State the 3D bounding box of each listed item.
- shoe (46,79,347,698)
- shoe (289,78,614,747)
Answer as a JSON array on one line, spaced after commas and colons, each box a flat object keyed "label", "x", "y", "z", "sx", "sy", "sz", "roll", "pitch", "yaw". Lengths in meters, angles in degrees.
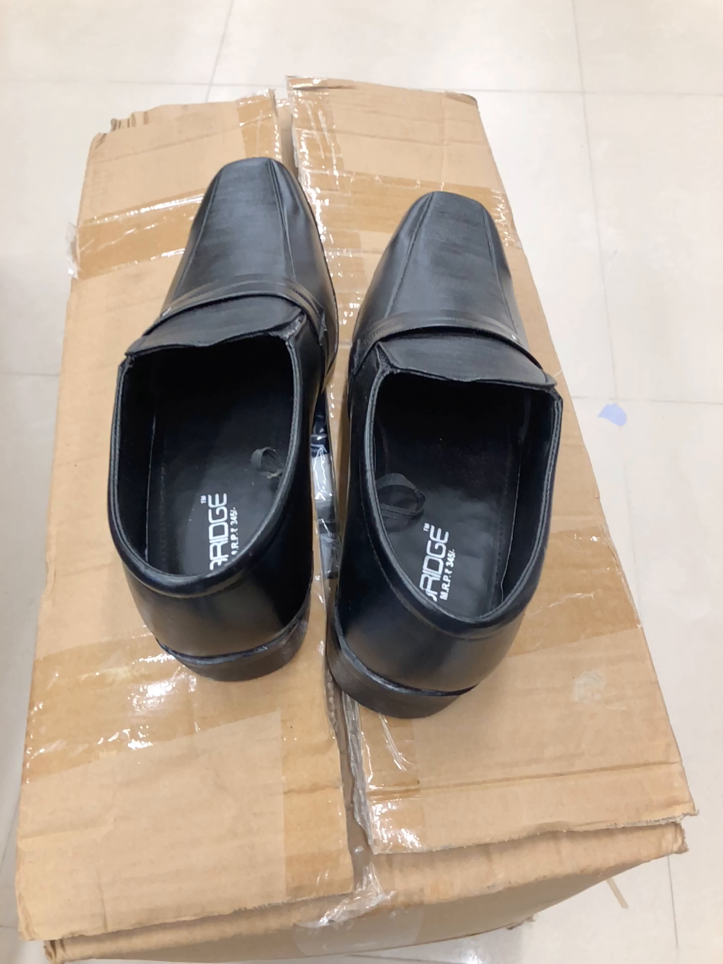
[{"label": "shoe", "x": -0.063, "y": -0.055, "z": 0.407, "sx": 0.100, "sy": 0.129, "sz": 0.291, "roll": -2, "pitch": 60, "yaw": 0}, {"label": "shoe", "x": 0.036, "y": -0.042, "z": 0.409, "sx": 0.100, "sy": 0.129, "sz": 0.311, "roll": 9, "pitch": 59, "yaw": -8}]
